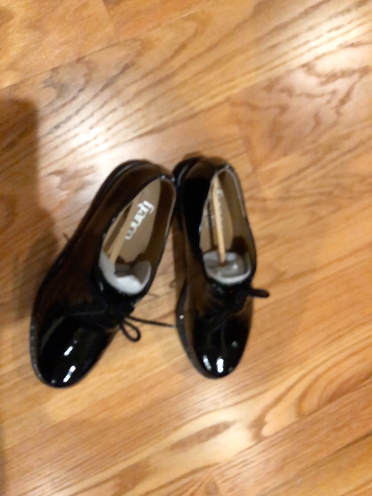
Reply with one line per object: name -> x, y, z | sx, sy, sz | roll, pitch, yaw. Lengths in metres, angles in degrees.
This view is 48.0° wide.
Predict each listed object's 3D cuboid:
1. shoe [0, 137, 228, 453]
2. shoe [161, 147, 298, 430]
shoe -> -0.080, 0.036, 0.380 | 0.095, 0.102, 0.251 | 27, 96, -20
shoe -> 0.037, 0.031, 0.415 | 0.095, 0.102, 0.251 | -5, 106, -14
